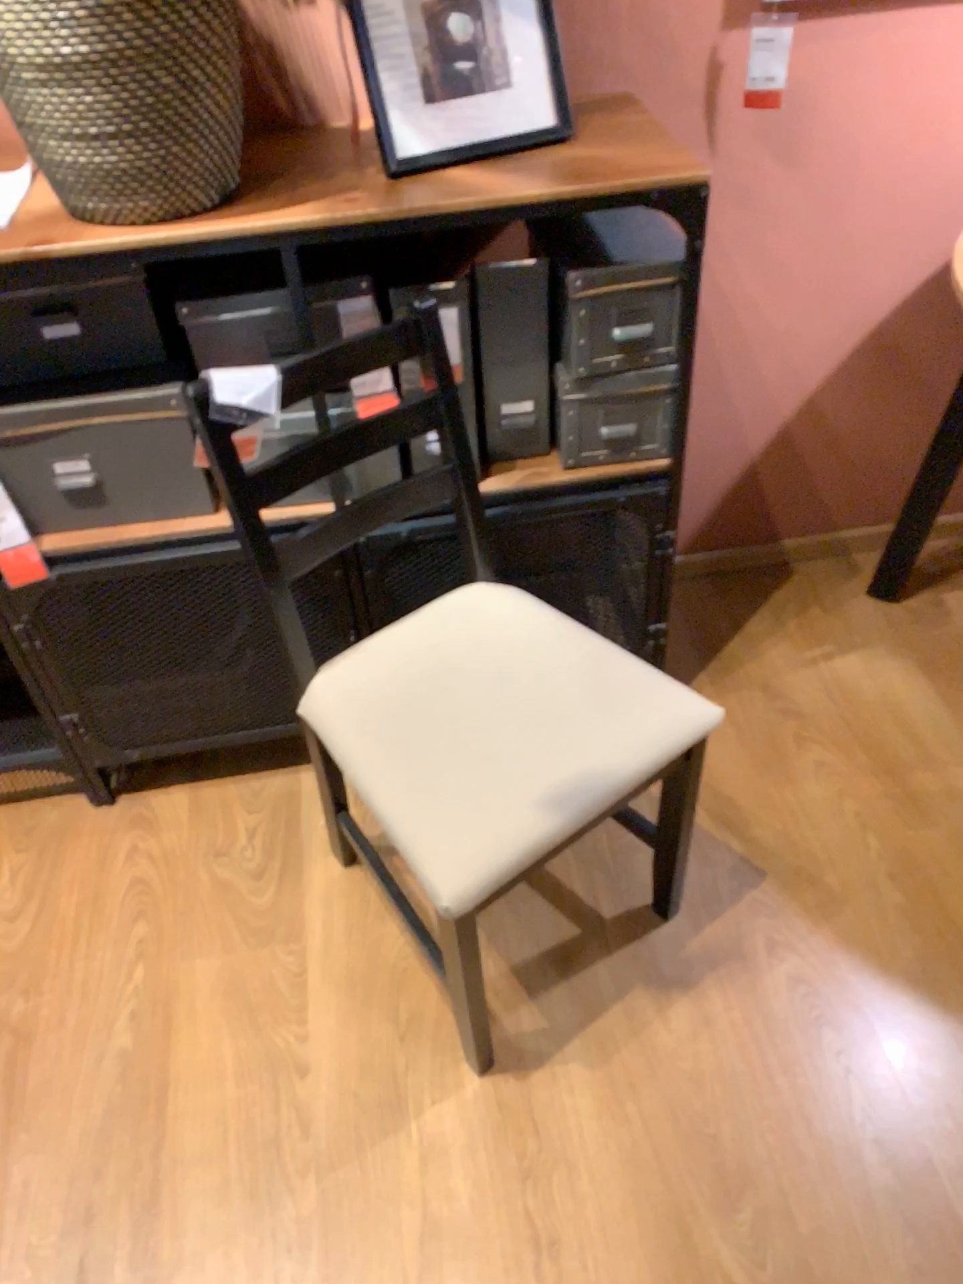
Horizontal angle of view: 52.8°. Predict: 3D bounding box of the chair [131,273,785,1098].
[{"bbox_3d":[-0.021,0.071,1.199,0.410,0.797,0.502,-30,49,-24],"label":"chair"}]
